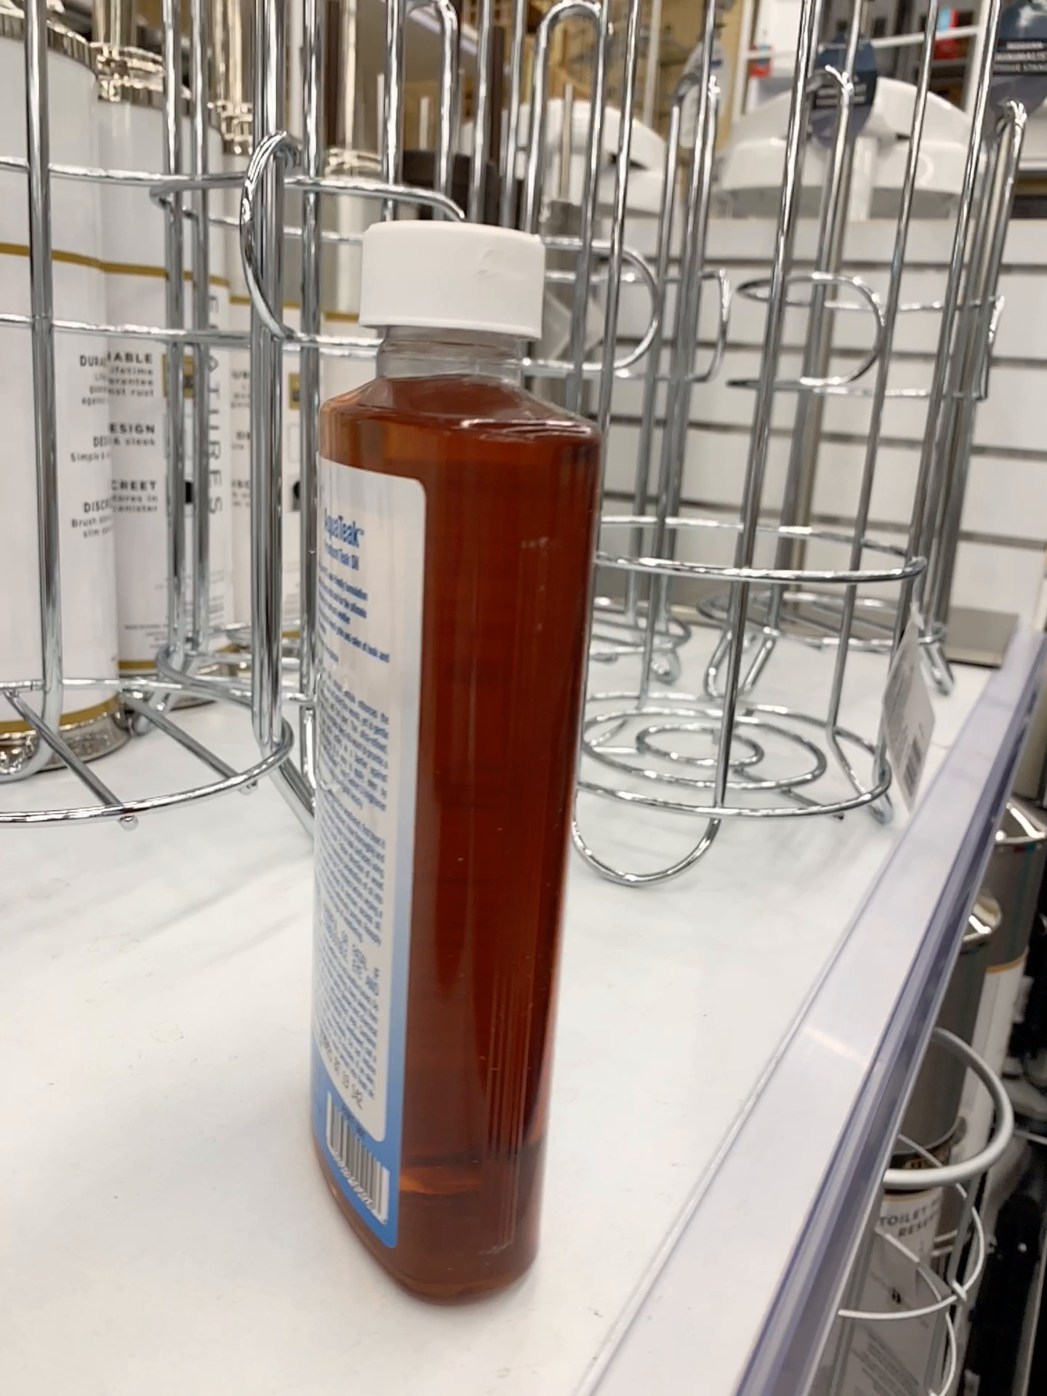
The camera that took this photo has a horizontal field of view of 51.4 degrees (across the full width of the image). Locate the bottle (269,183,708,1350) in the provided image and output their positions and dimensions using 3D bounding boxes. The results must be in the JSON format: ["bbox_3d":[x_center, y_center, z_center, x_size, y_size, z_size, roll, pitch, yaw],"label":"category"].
[{"bbox_3d":[-0.018,0.012,0.230,0.046,0.207,0.088,-4,18,-28],"label":"bottle"}]
